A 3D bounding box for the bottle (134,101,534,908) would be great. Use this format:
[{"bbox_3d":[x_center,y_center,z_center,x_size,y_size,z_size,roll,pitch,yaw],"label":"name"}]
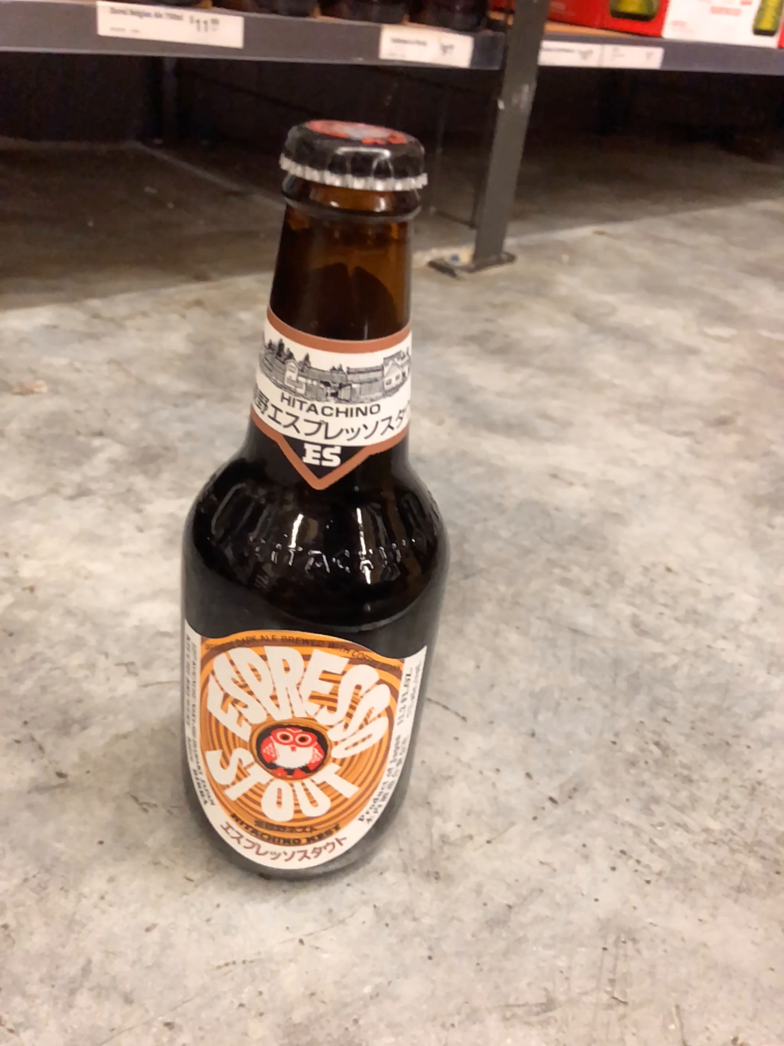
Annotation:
[{"bbox_3d":[-0.018,0.004,0.214,0.063,0.180,0.069,6,32,-4],"label":"bottle"}]
